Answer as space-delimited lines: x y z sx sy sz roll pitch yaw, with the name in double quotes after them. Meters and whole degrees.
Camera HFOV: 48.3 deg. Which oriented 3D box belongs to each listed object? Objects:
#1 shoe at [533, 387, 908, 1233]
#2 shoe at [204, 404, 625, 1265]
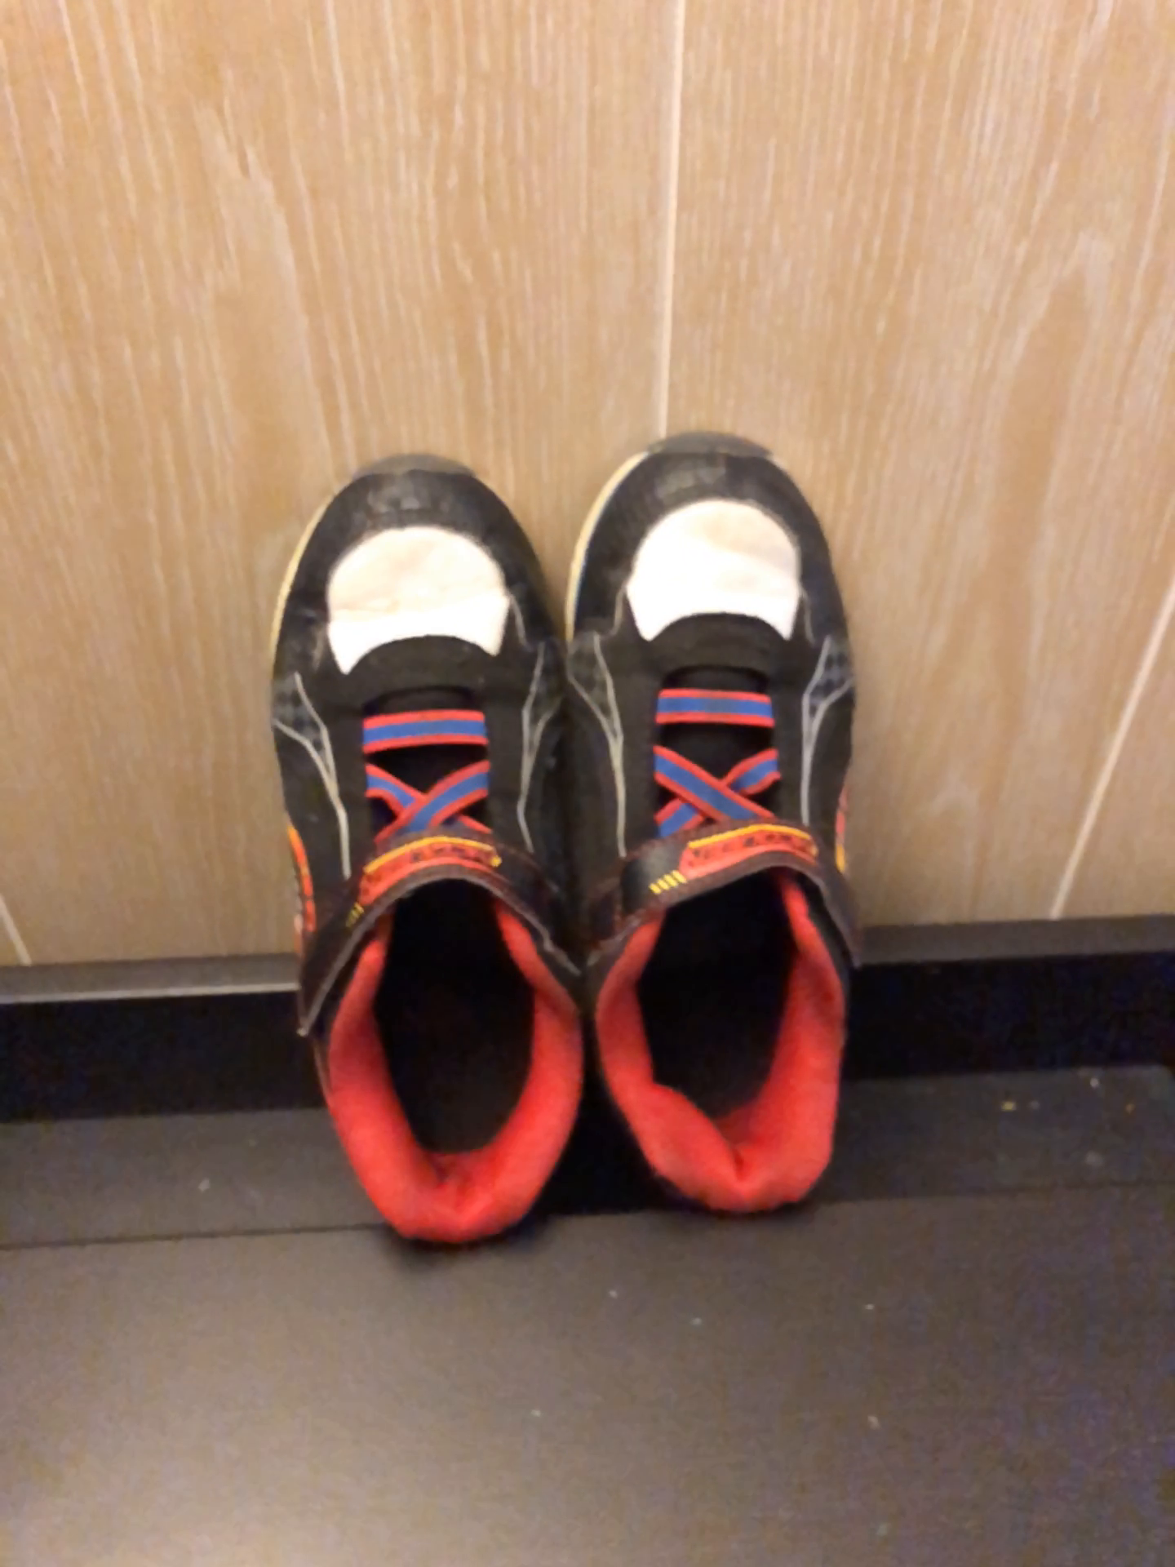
0.033 0.006 0.363 0.090 0.210 0.070 -2 4 -1 "shoe"
-0.043 0.011 0.346 0.090 0.200 0.070 -3 0 -3 "shoe"
